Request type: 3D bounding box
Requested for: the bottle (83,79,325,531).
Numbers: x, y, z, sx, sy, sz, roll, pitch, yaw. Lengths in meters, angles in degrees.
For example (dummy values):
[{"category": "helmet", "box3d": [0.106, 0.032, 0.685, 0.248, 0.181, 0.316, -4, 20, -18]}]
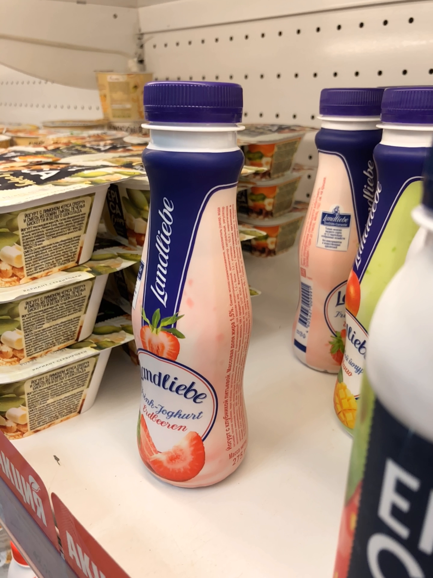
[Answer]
[{"category": "bottle", "box3d": [-0.004, 0.004, 0.232, 0.070, 0.189, 0.070, -1, 22, 0]}]
